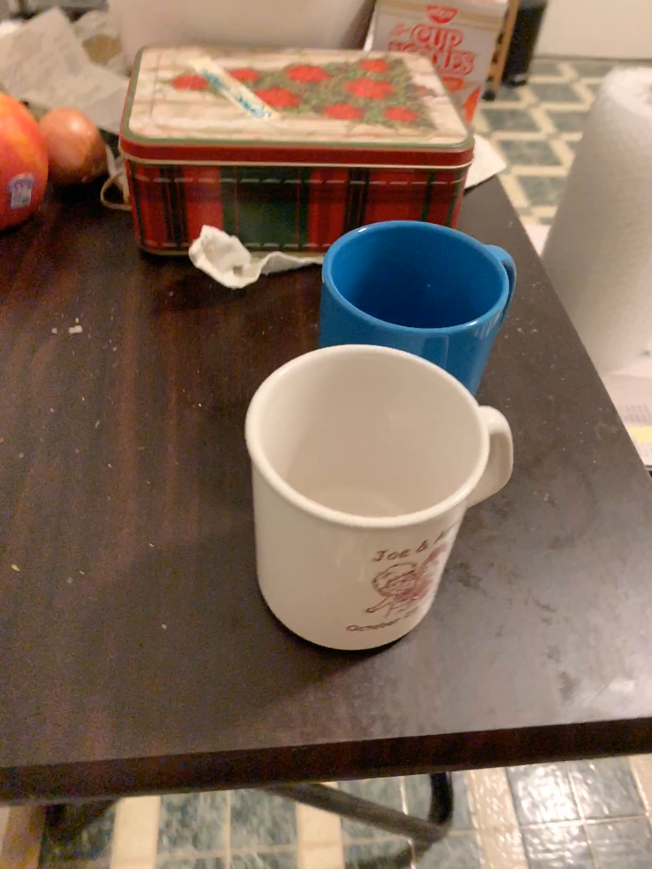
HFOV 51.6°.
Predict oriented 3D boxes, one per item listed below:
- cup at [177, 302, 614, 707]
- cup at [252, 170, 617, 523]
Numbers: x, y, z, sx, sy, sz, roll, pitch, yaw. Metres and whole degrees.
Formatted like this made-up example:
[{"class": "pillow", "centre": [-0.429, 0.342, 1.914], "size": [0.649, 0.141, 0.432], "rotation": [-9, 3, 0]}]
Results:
[{"class": "cup", "centre": [0.018, 0.024, 0.261], "size": [0.120, 0.089, 0.091], "rotation": [-16, 52, -17]}, {"class": "cup", "centre": [0.048, -0.048, 0.339], "size": [0.140, 0.099, 0.090], "rotation": [-28, 56, -26]}]
